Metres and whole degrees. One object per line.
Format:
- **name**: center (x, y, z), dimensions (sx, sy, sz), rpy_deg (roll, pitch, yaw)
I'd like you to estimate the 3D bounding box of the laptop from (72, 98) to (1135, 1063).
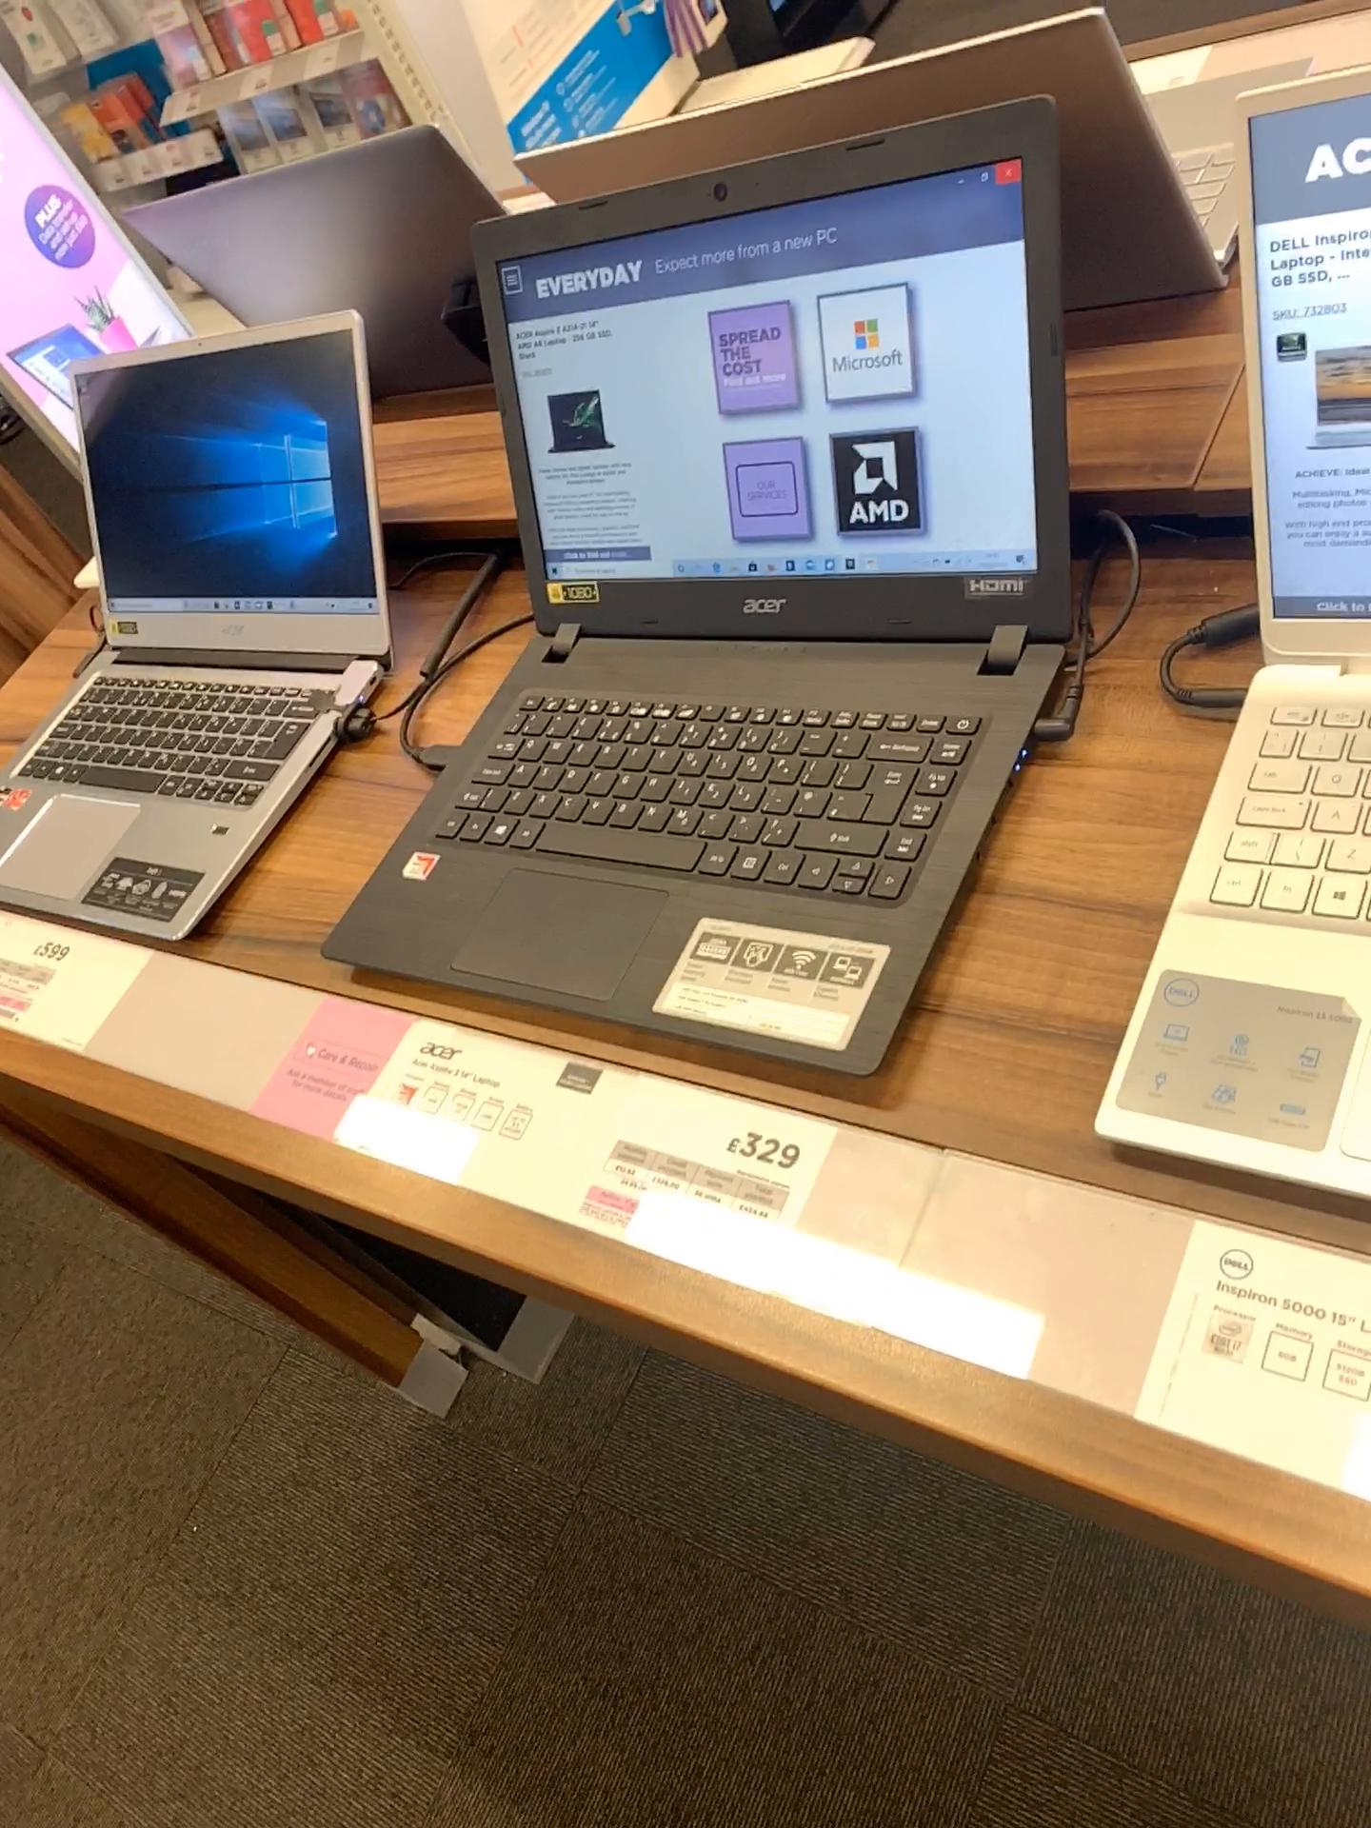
- **laptop**: center (-0.019, -0.160, 0.658), dimensions (0.326, 0.193, 0.356), rpy_deg (9, 57, 36)
